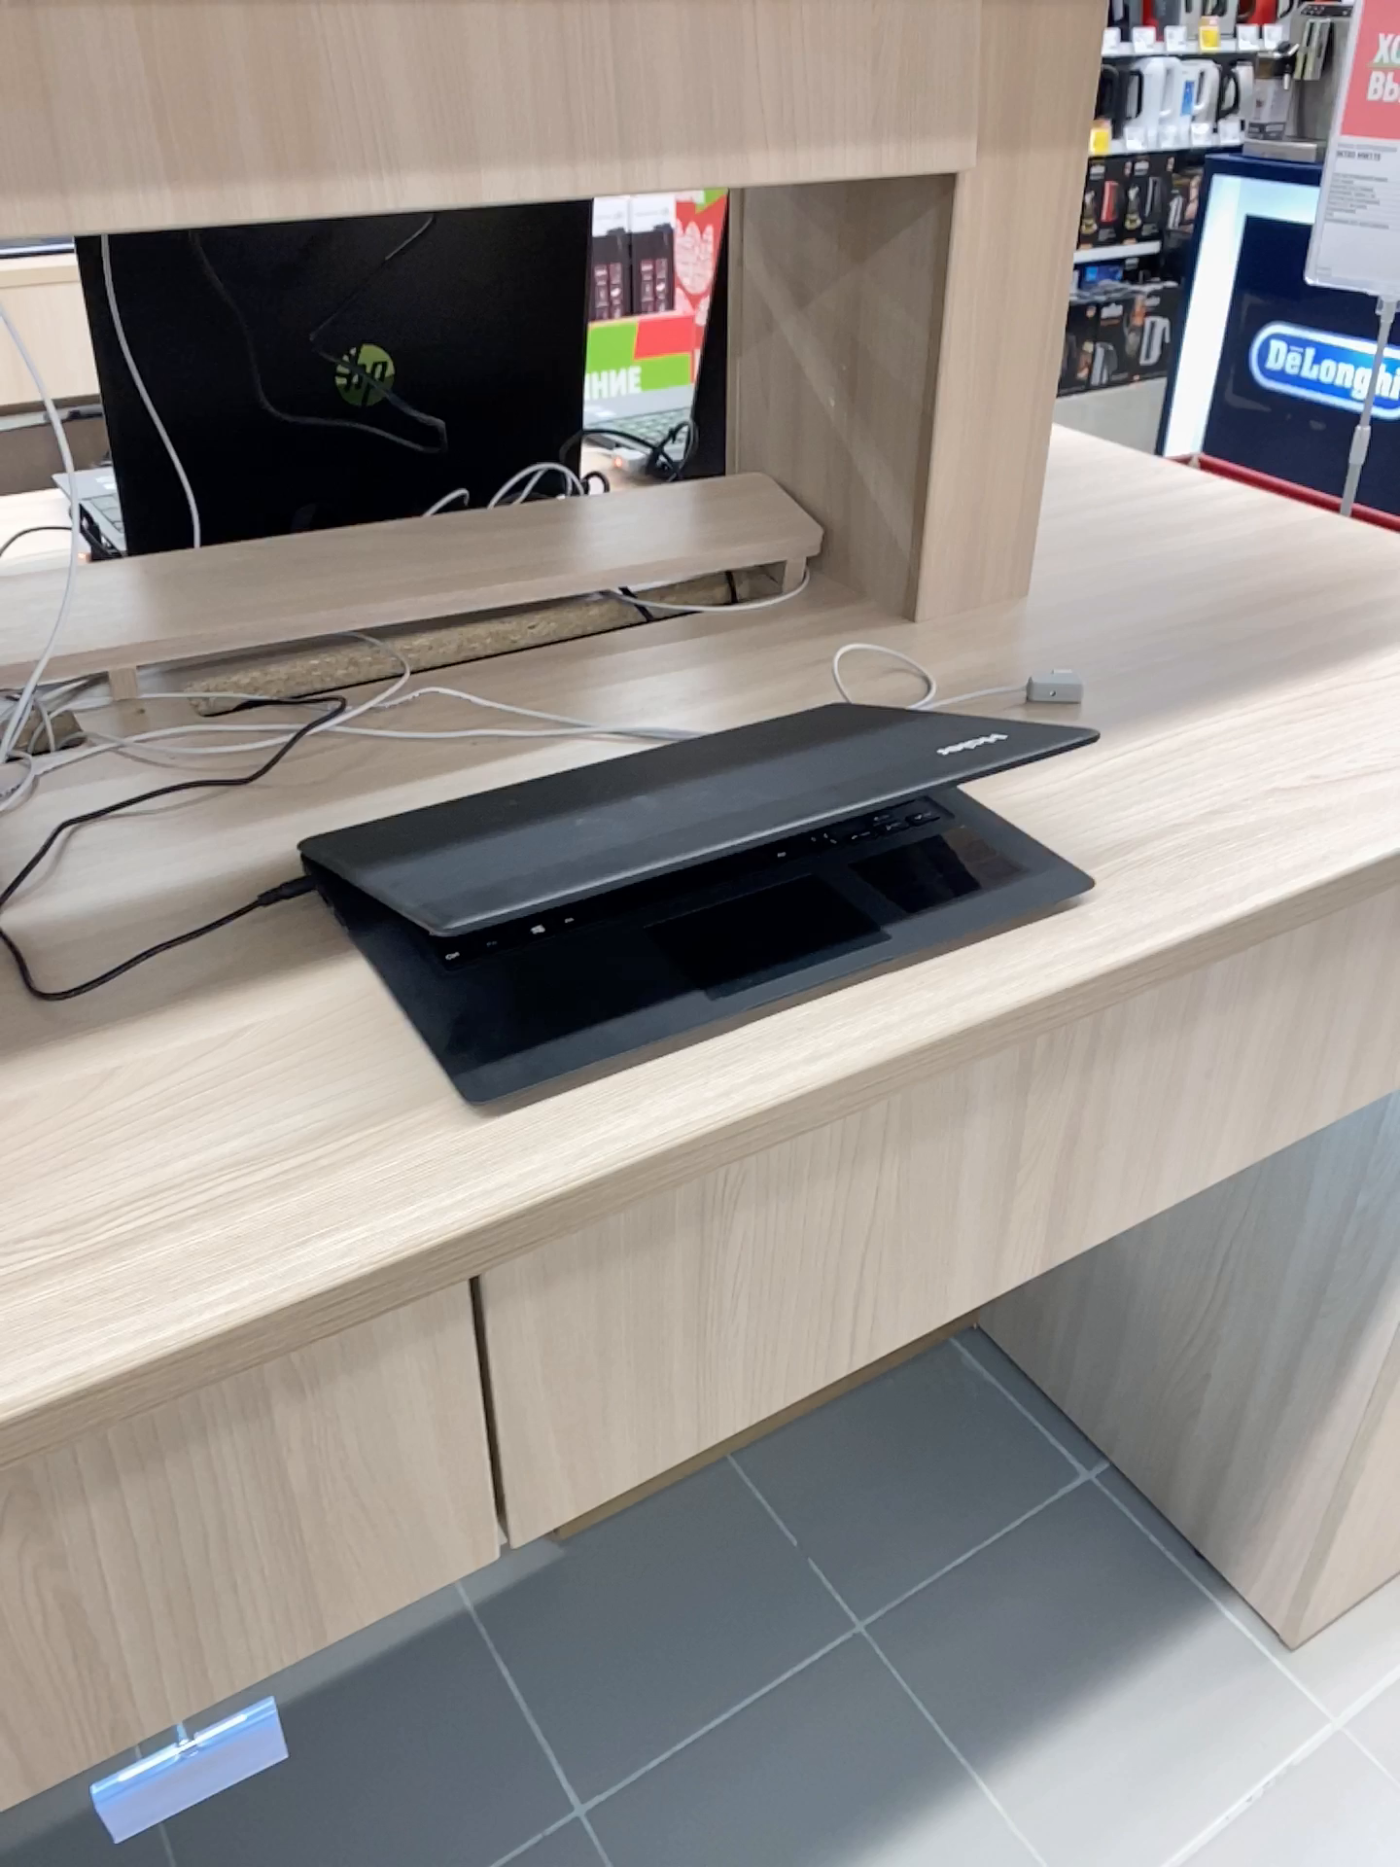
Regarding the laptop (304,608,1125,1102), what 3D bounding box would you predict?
[{"bbox_3d":[0.005,-0.058,0.670,0.319,0.071,0.202,-17,38,-26],"label":"laptop"}]
